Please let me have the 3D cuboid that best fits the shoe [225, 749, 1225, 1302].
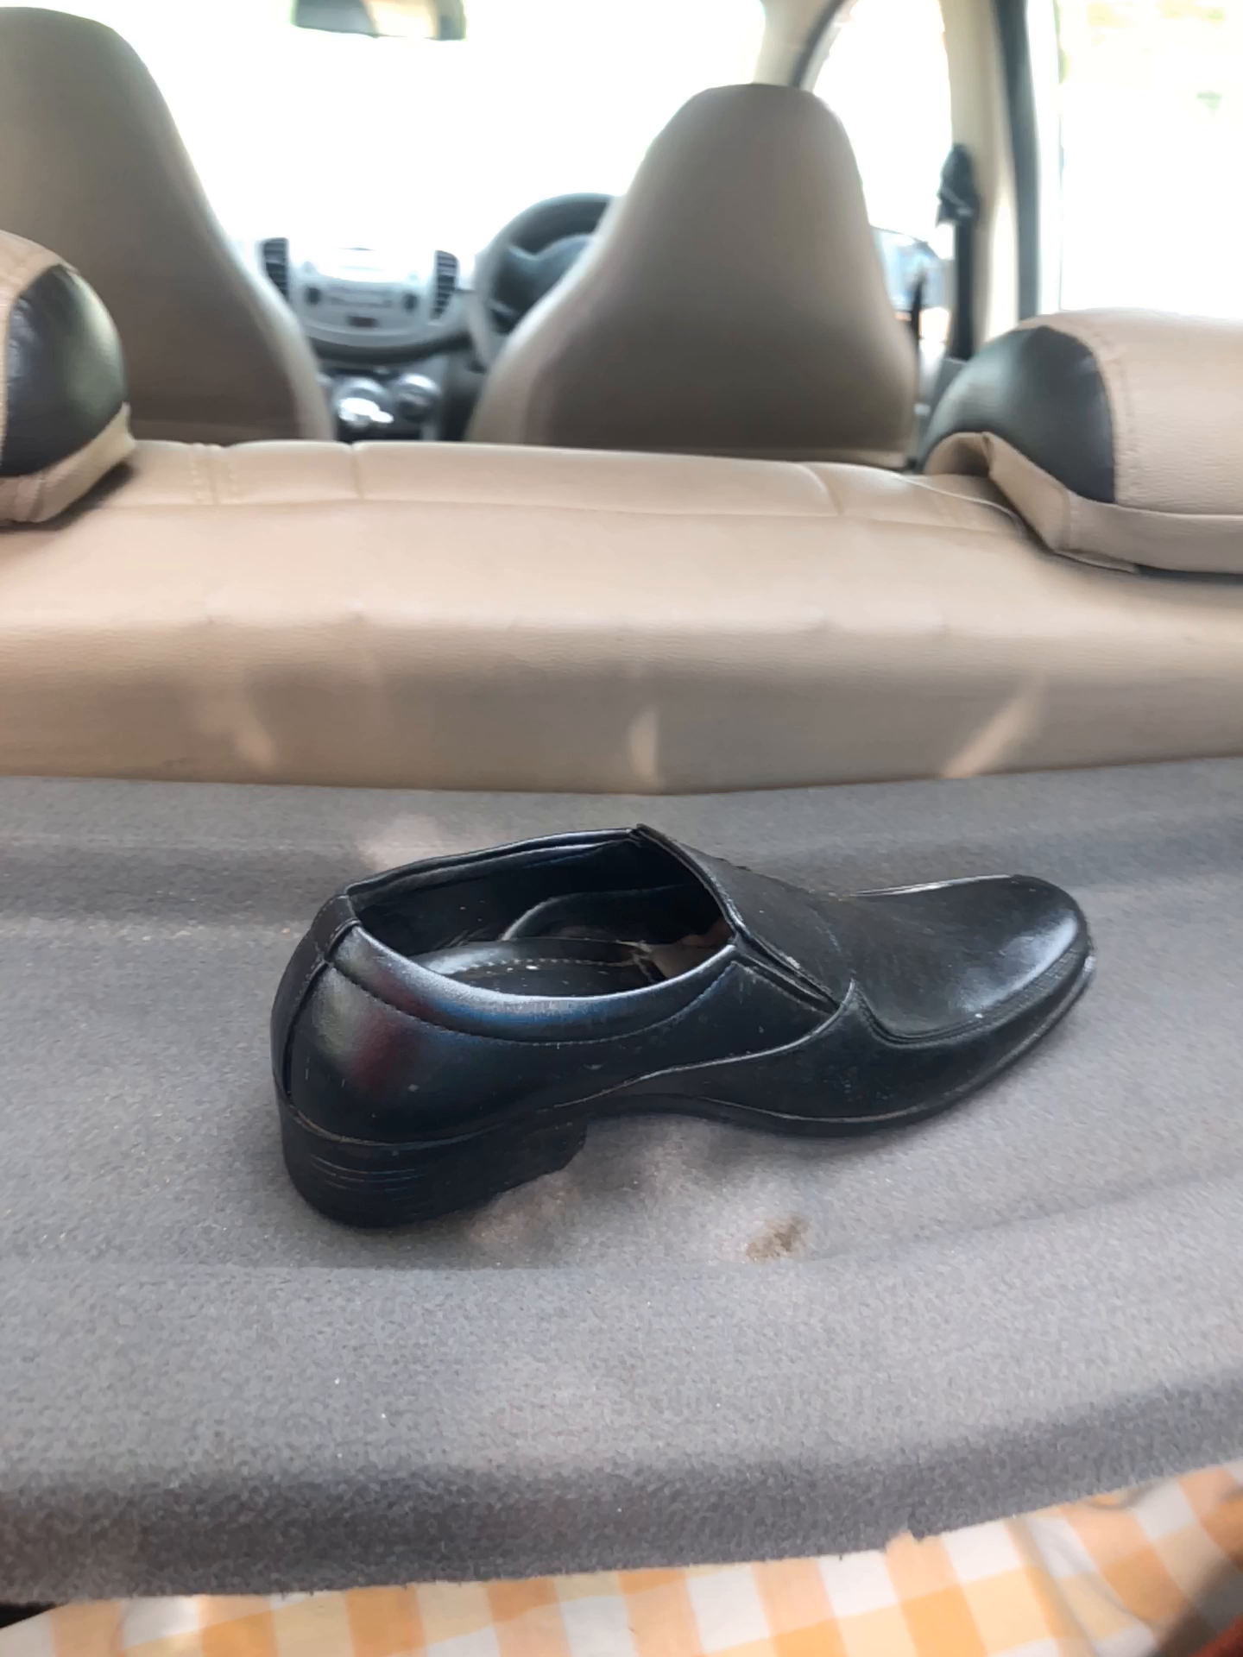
[{"bbox_3d":[0.037,0.046,0.443,0.301,0.080,0.100,-8,31,-25],"label":"shoe"}]
